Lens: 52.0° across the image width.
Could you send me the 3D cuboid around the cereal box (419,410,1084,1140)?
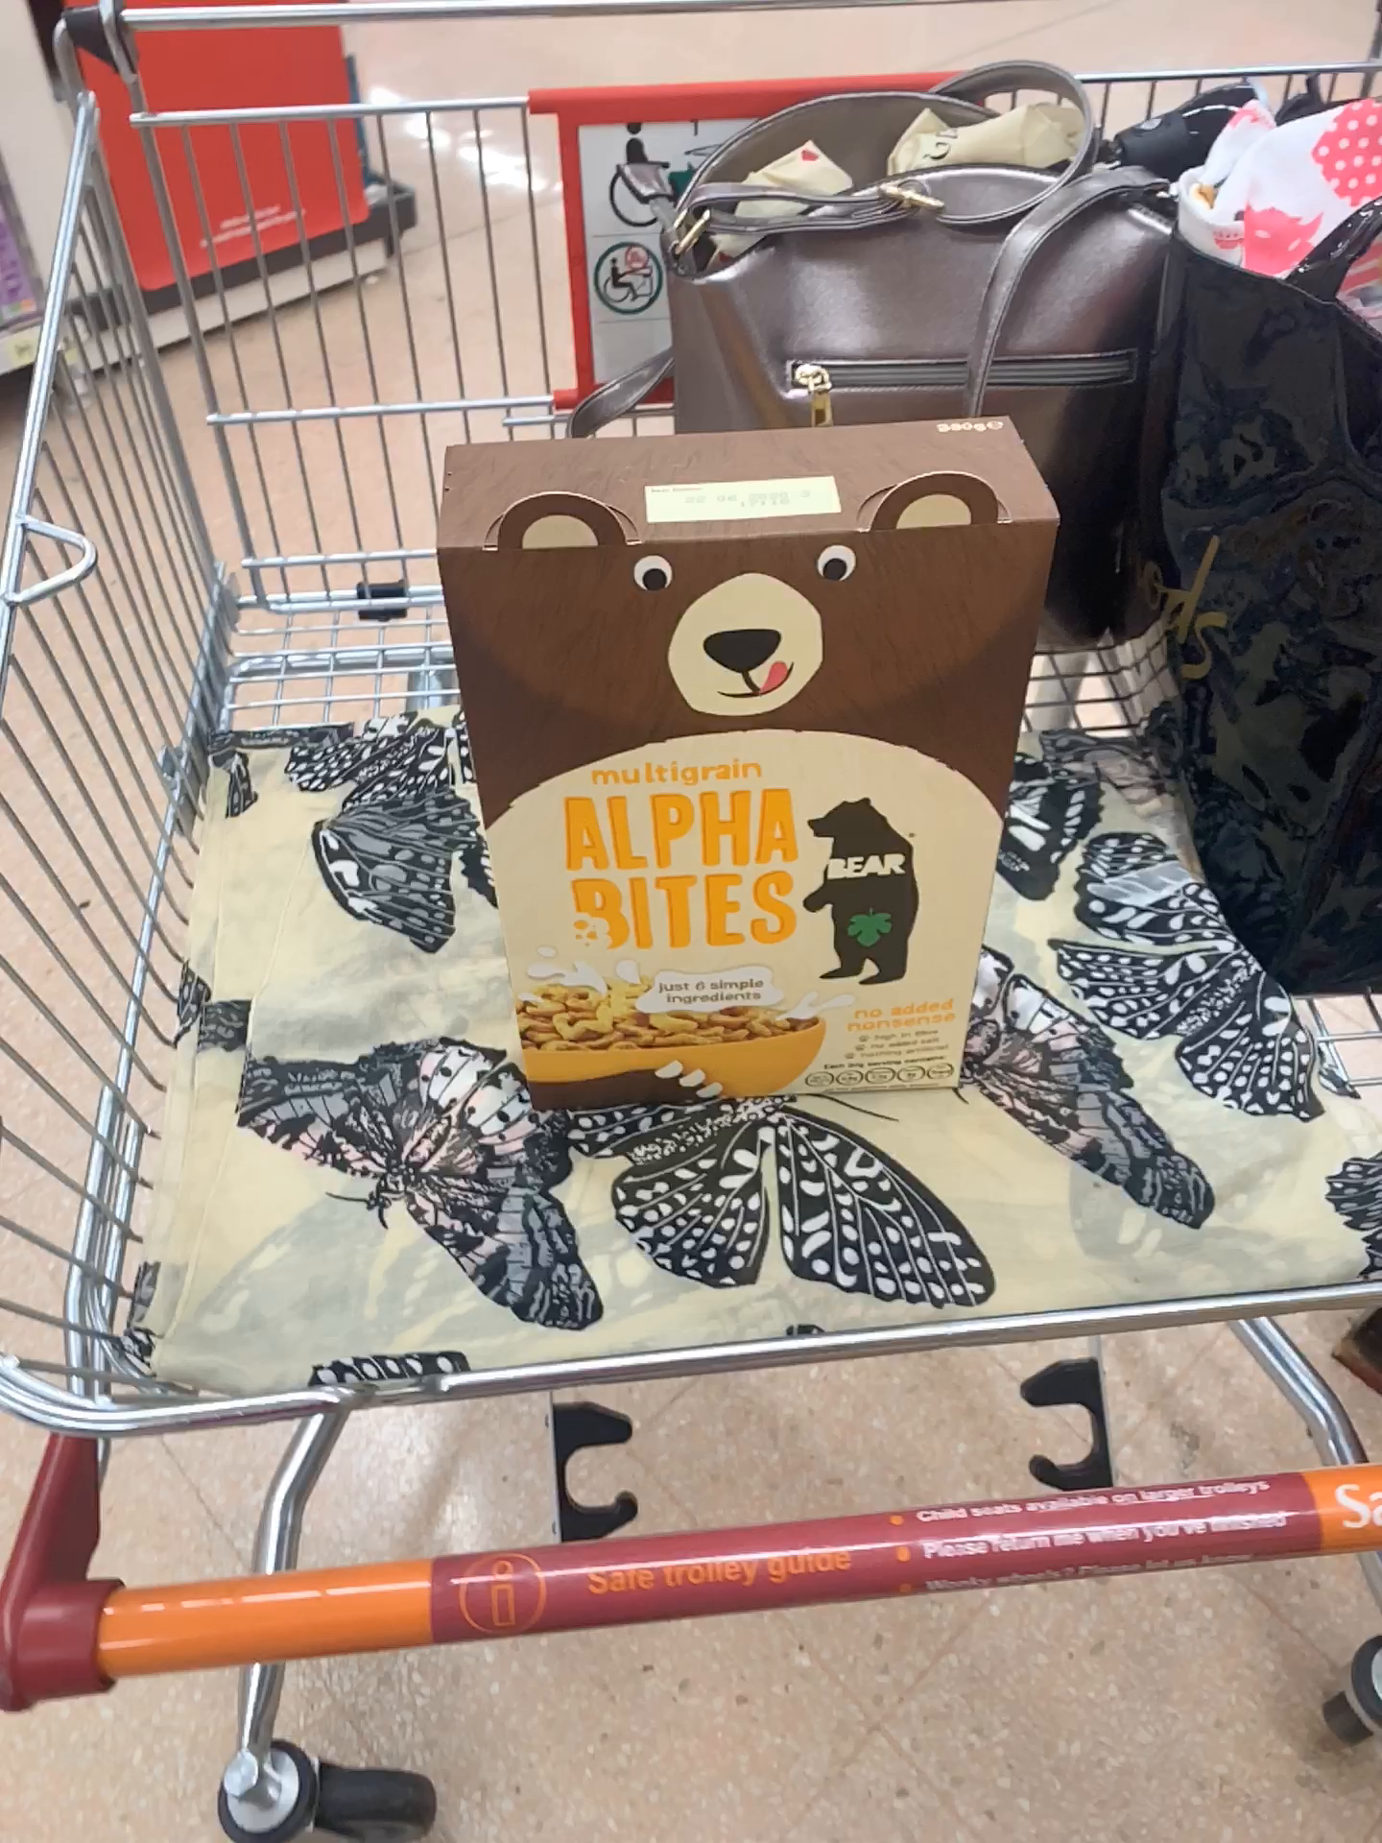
[{"bbox_3d":[0.017,-0.038,0.554,0.200,0.297,0.071,-3,45,-3],"label":"cereal box"}]
